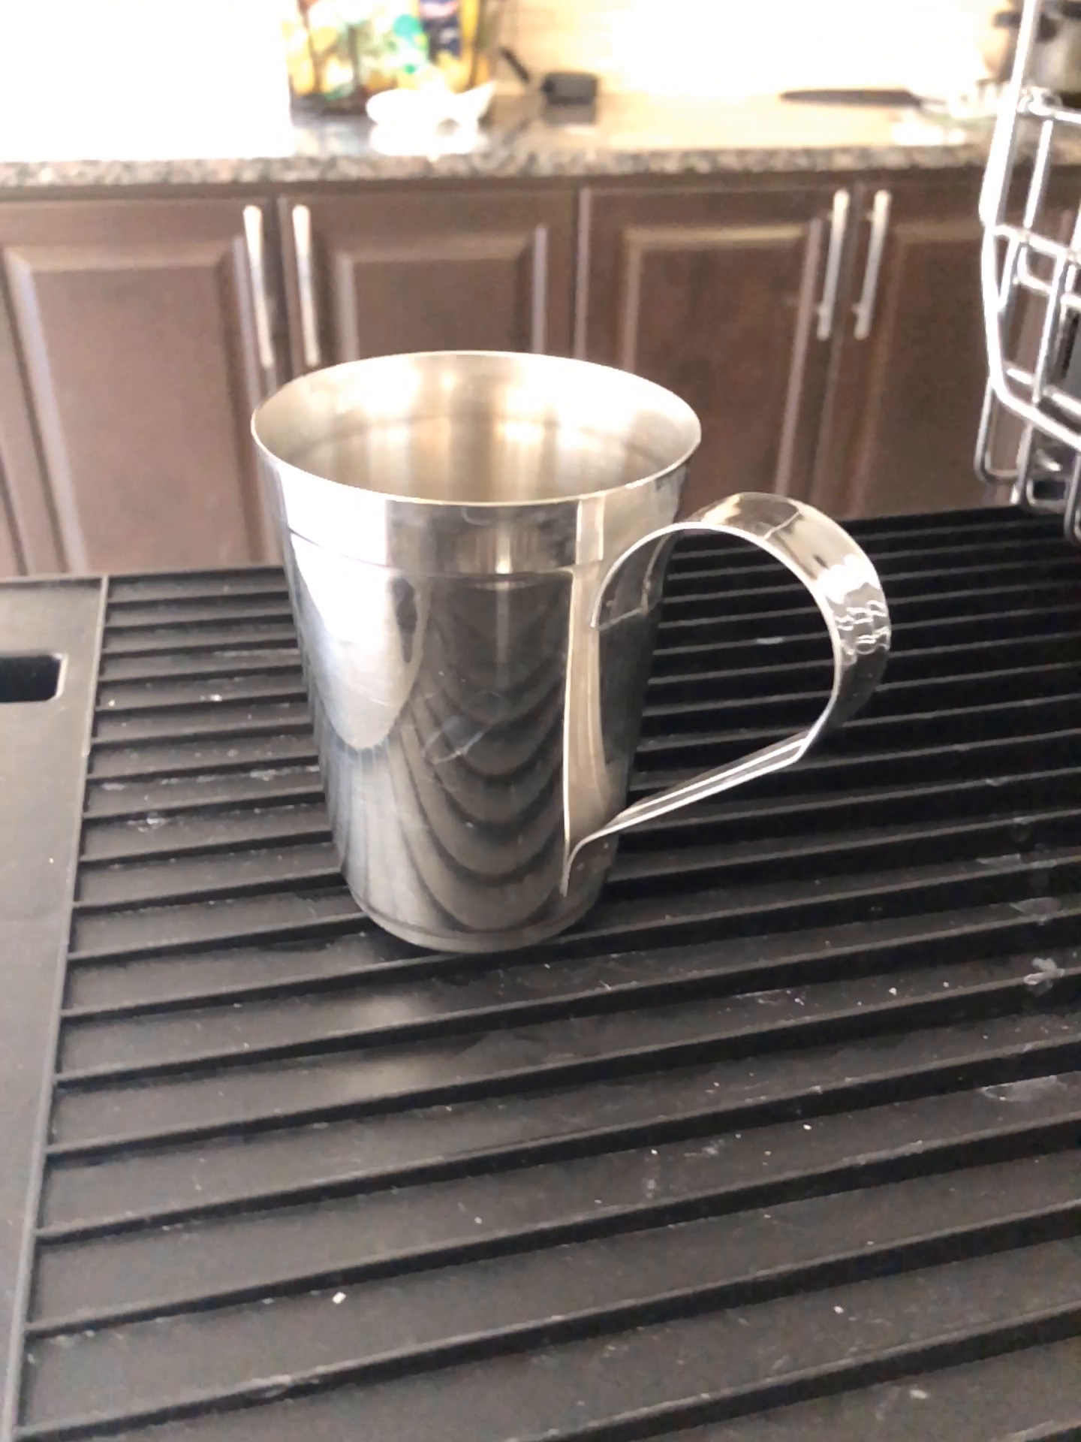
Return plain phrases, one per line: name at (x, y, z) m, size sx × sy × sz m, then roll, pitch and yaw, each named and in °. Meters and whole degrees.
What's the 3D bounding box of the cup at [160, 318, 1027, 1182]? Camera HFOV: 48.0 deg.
cup at (0.006, -0.003, 0.205) m, size 0.110 × 0.097 × 0.065 m, roll 20°, pitch 37°, yaw 28°
